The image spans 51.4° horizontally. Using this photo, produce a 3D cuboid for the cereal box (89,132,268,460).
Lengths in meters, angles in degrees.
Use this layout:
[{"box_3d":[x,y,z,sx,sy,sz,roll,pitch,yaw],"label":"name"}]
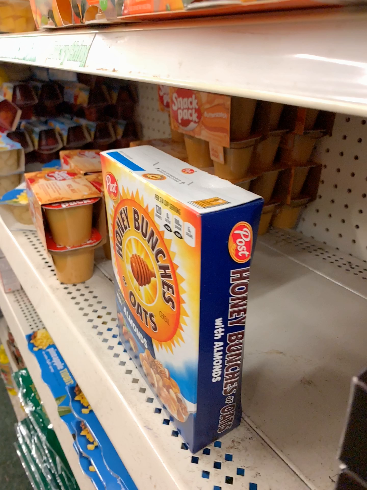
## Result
[{"box_3d":[-0.014,0.027,0.287,0.050,0.189,0.151,-14,30,-26],"label":"cereal box"}]
